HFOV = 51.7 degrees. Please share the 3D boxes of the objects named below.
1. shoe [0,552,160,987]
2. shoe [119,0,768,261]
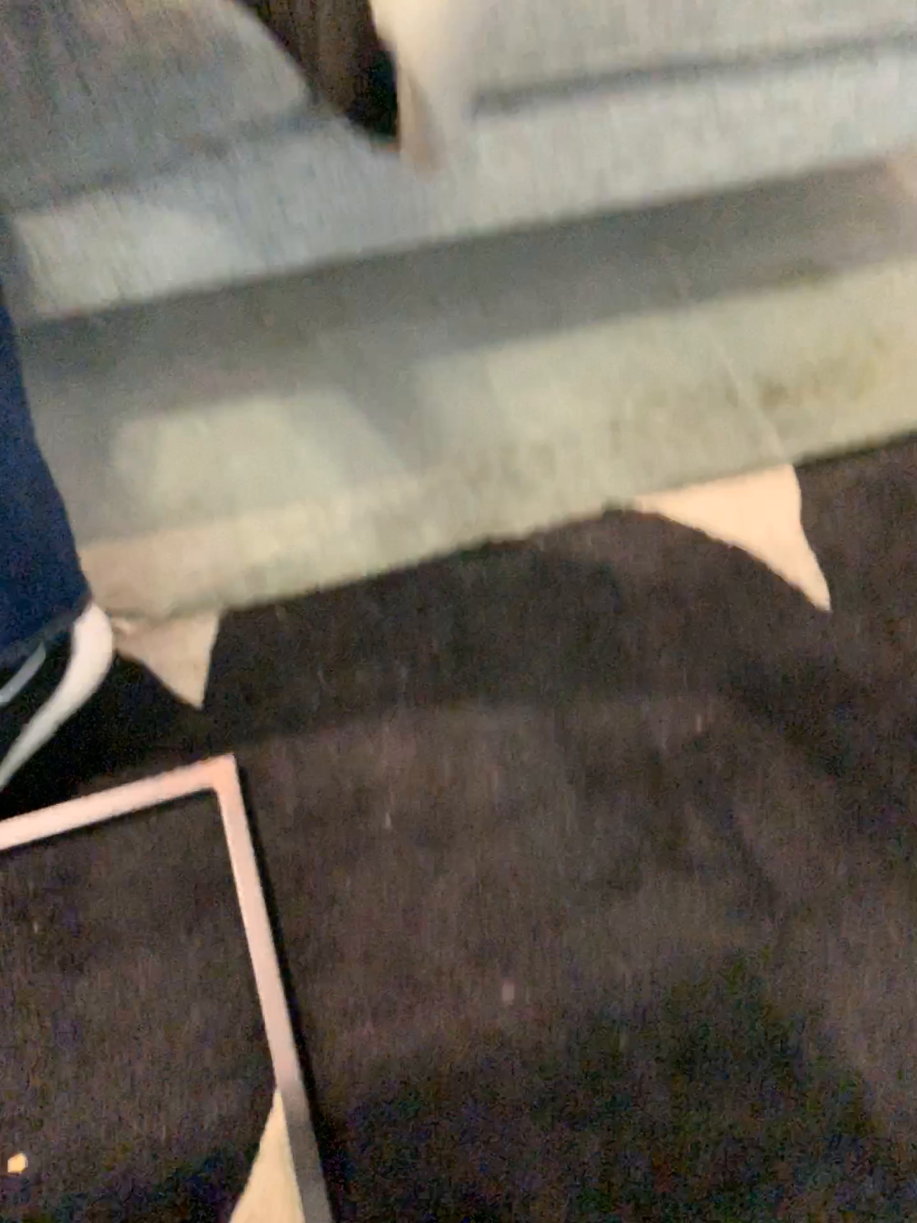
[{"bbox_3d":[-0.383,0.105,0.696,0.116,0.074,0.303,34,65,20],"label":"shoe"},{"bbox_3d":[-0.040,-0.237,0.321,0.132,0.112,0.277,-3,44,-18],"label":"shoe"}]
